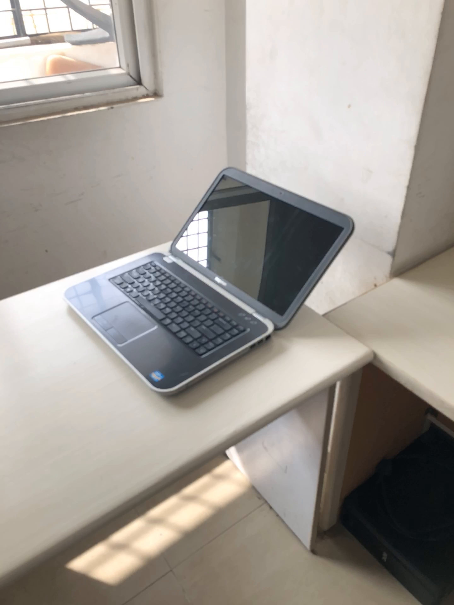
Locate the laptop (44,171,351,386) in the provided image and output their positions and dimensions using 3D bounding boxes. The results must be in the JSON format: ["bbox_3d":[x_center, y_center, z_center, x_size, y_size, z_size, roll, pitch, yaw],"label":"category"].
[{"bbox_3d":[-0.053,-0.081,0.911,0.407,0.145,0.342,-26,42,-31],"label":"laptop"}]
